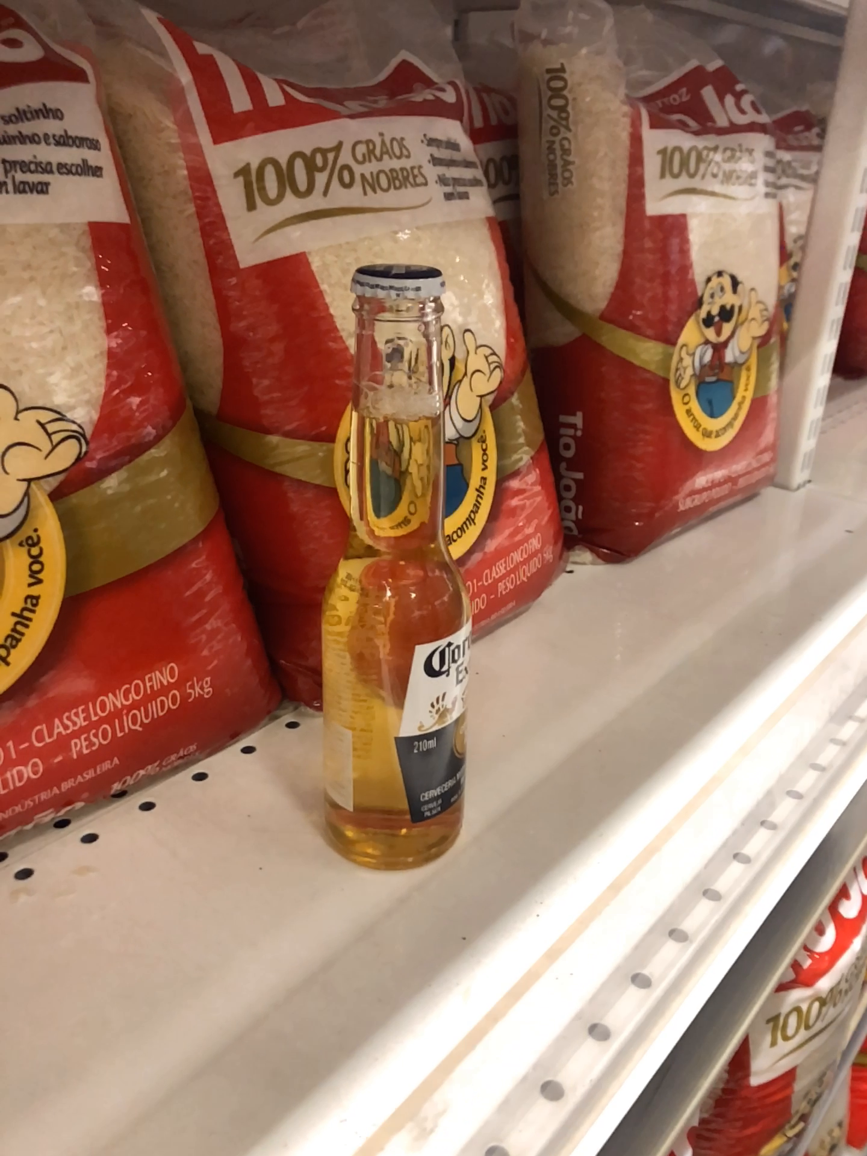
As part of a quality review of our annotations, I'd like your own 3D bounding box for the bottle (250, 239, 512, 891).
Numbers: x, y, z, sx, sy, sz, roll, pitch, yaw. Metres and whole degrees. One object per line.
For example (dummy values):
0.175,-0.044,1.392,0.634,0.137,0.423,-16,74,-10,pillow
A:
-0.016,-0.002,0.315,0.060,0.199,0.060,2,24,-1,bottle
